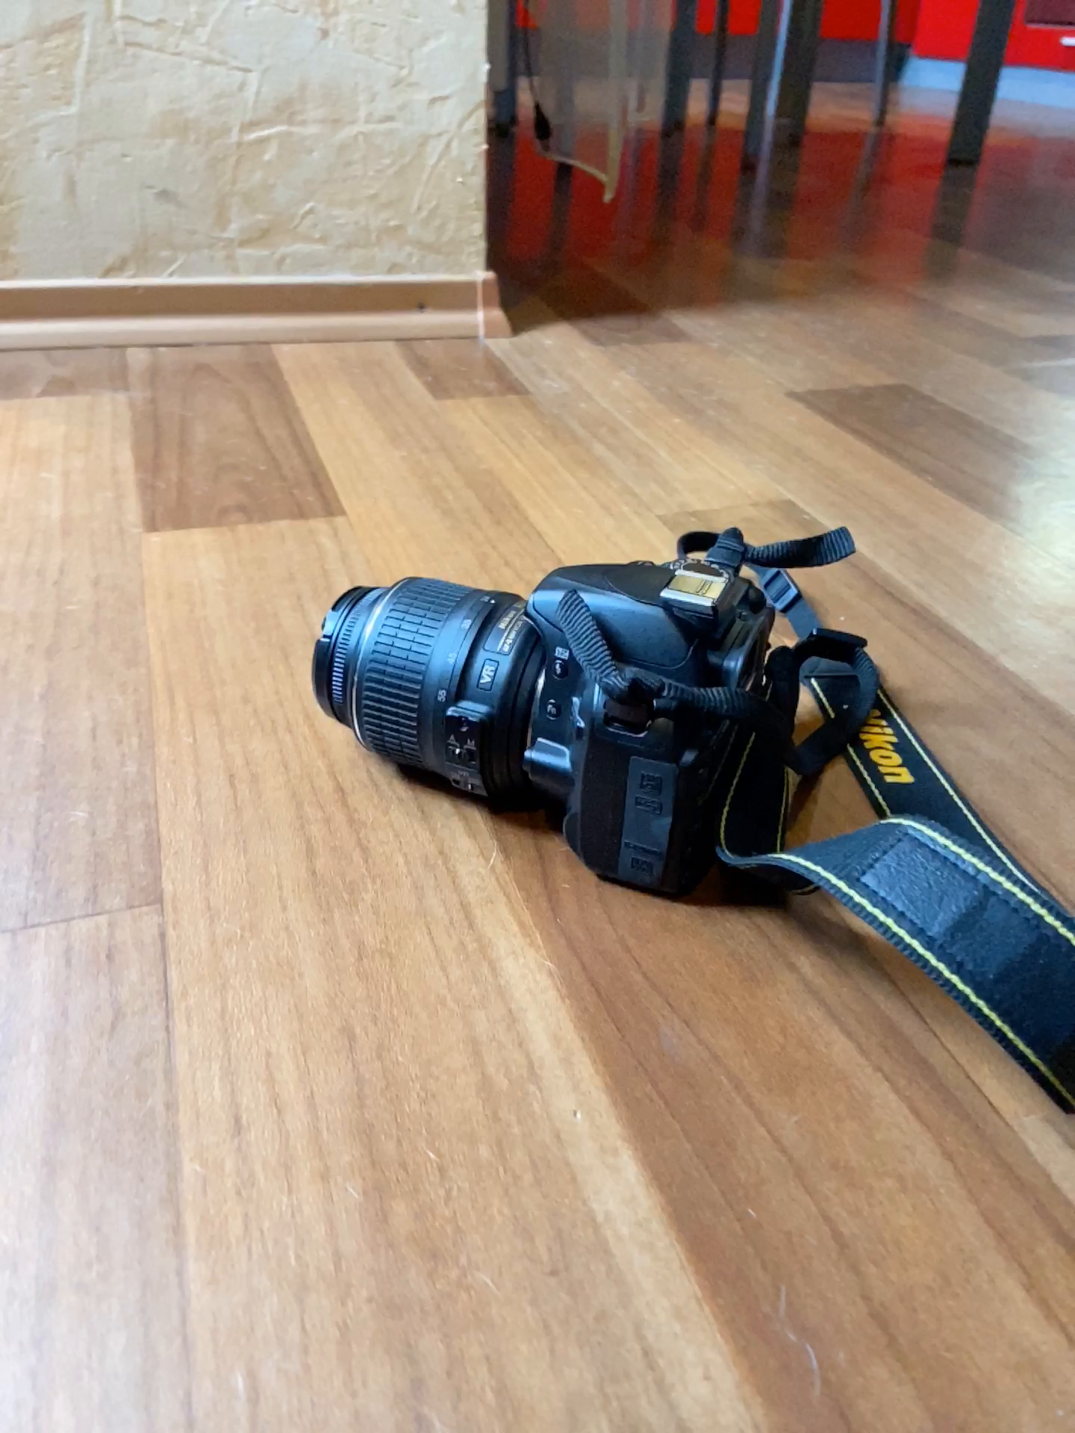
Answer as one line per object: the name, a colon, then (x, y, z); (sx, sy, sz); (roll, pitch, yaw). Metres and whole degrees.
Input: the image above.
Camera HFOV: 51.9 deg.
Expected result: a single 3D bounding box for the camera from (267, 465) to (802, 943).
camera: (0.004, -0.014, 0.408); (0.153, 0.100, 0.121); (13, 34, 16)
